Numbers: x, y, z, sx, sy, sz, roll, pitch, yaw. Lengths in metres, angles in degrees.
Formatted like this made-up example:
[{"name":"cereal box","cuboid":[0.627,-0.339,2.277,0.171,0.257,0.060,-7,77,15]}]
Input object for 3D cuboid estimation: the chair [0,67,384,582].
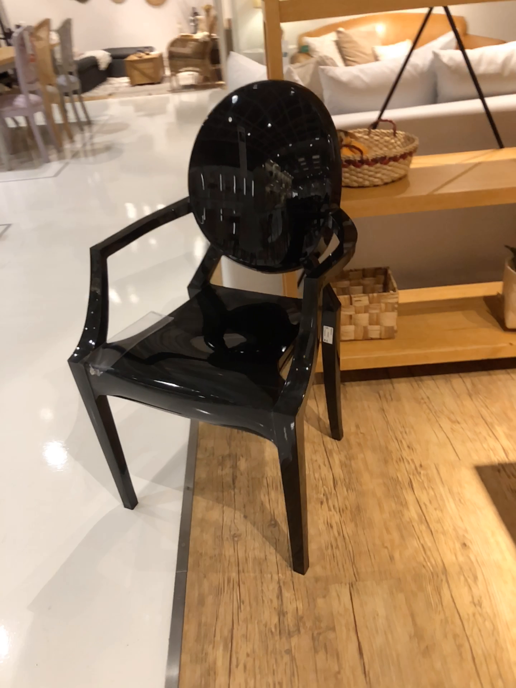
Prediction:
[{"name":"chair","cuboid":[-0.058,-0.074,1.284,0.541,0.902,0.594,8,34,21]}]
